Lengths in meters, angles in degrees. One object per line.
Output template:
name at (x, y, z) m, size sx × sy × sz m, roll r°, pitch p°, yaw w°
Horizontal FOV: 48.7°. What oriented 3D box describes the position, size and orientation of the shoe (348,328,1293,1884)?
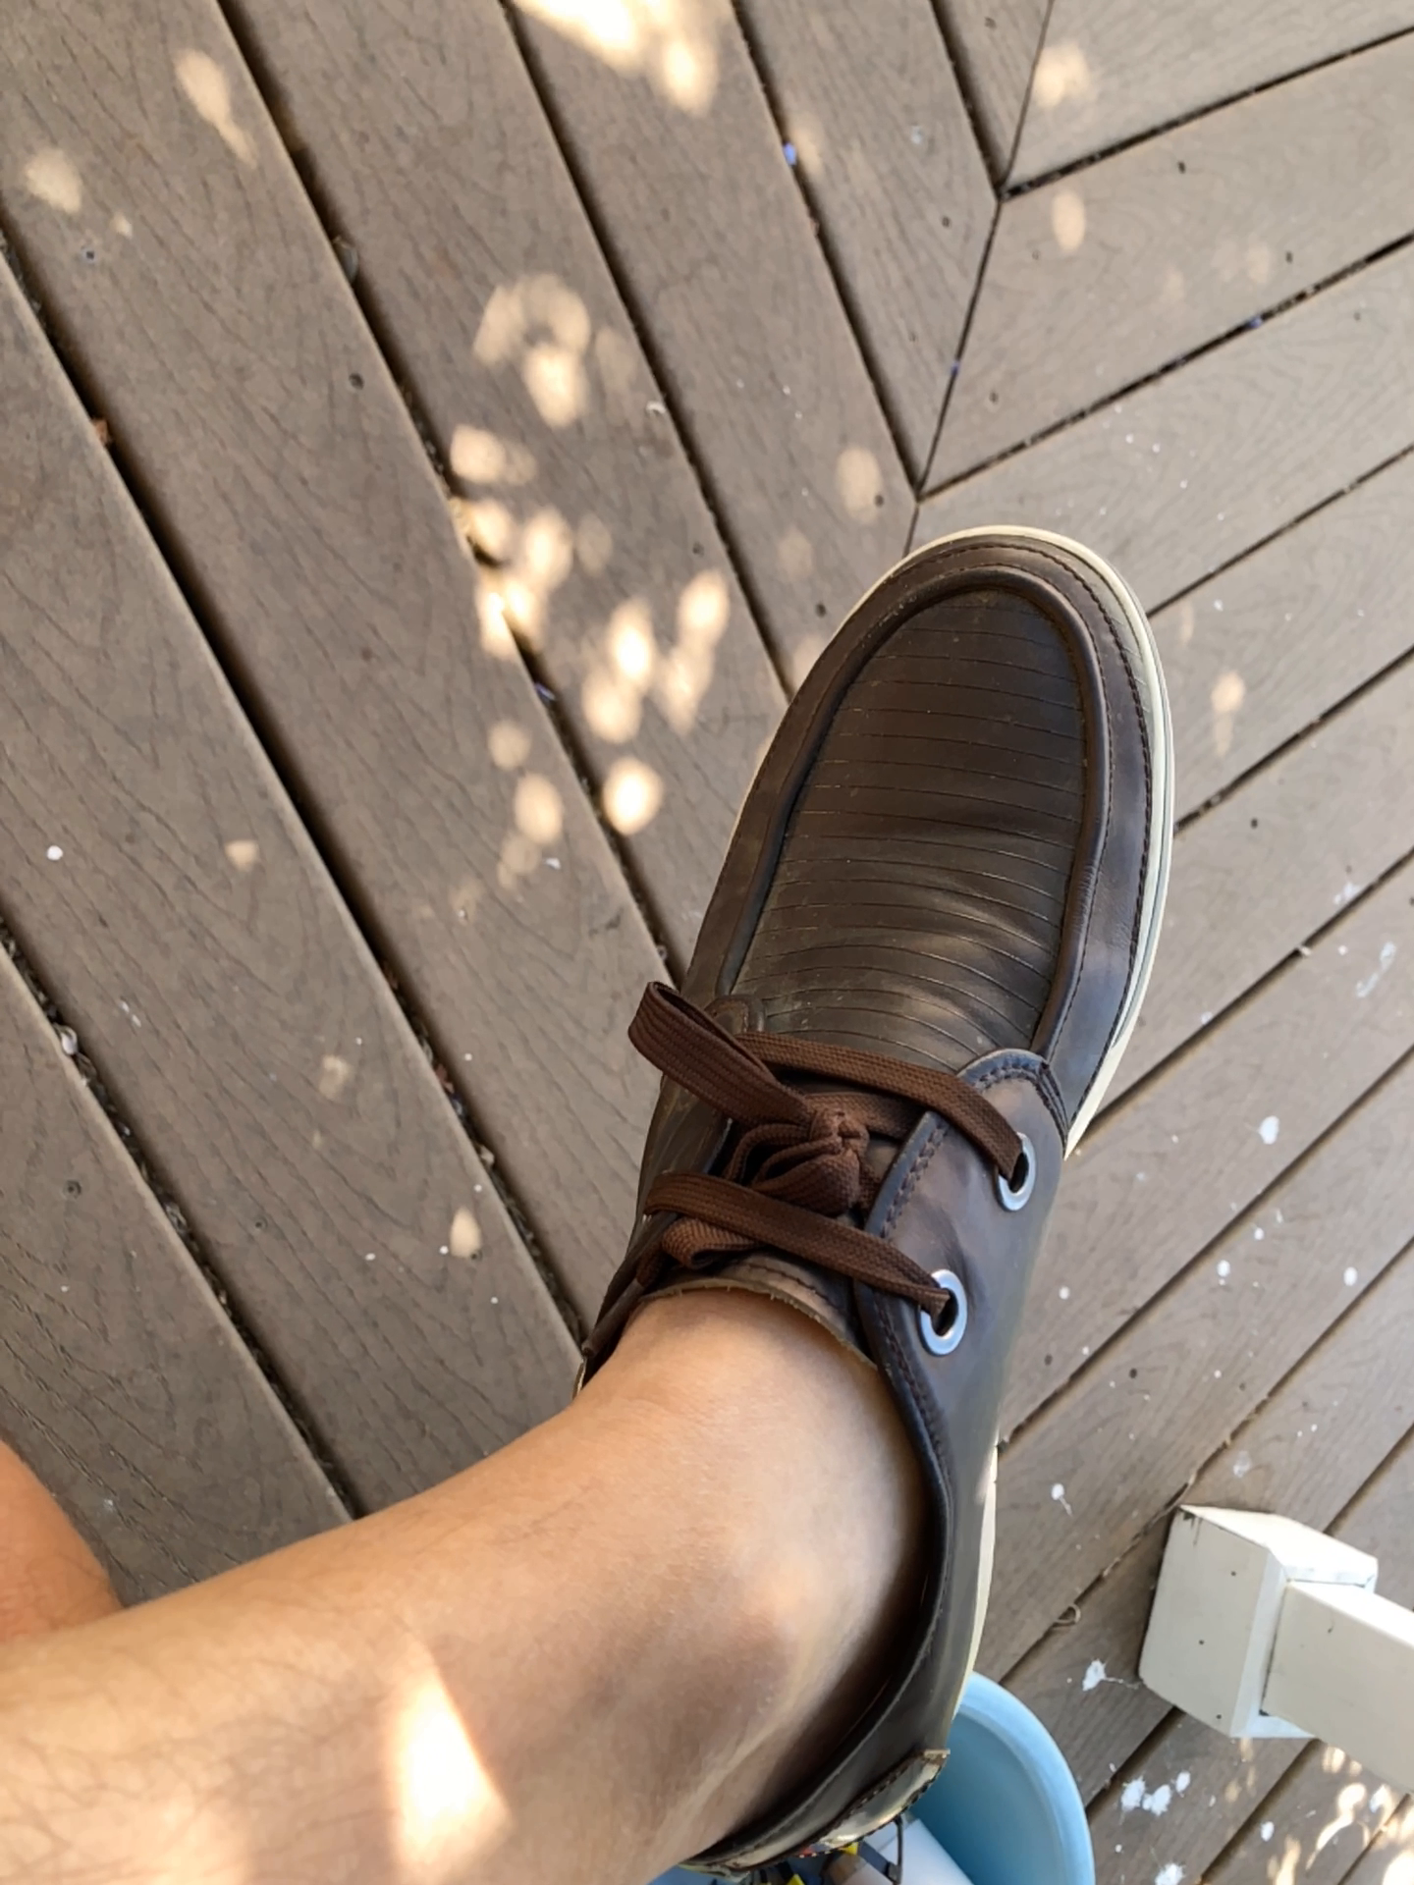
shoe at (0.033, 0.035, 0.315) m, size 0.102 × 0.097 × 0.274 m, roll 30°, pitch 74°, yaw -71°
